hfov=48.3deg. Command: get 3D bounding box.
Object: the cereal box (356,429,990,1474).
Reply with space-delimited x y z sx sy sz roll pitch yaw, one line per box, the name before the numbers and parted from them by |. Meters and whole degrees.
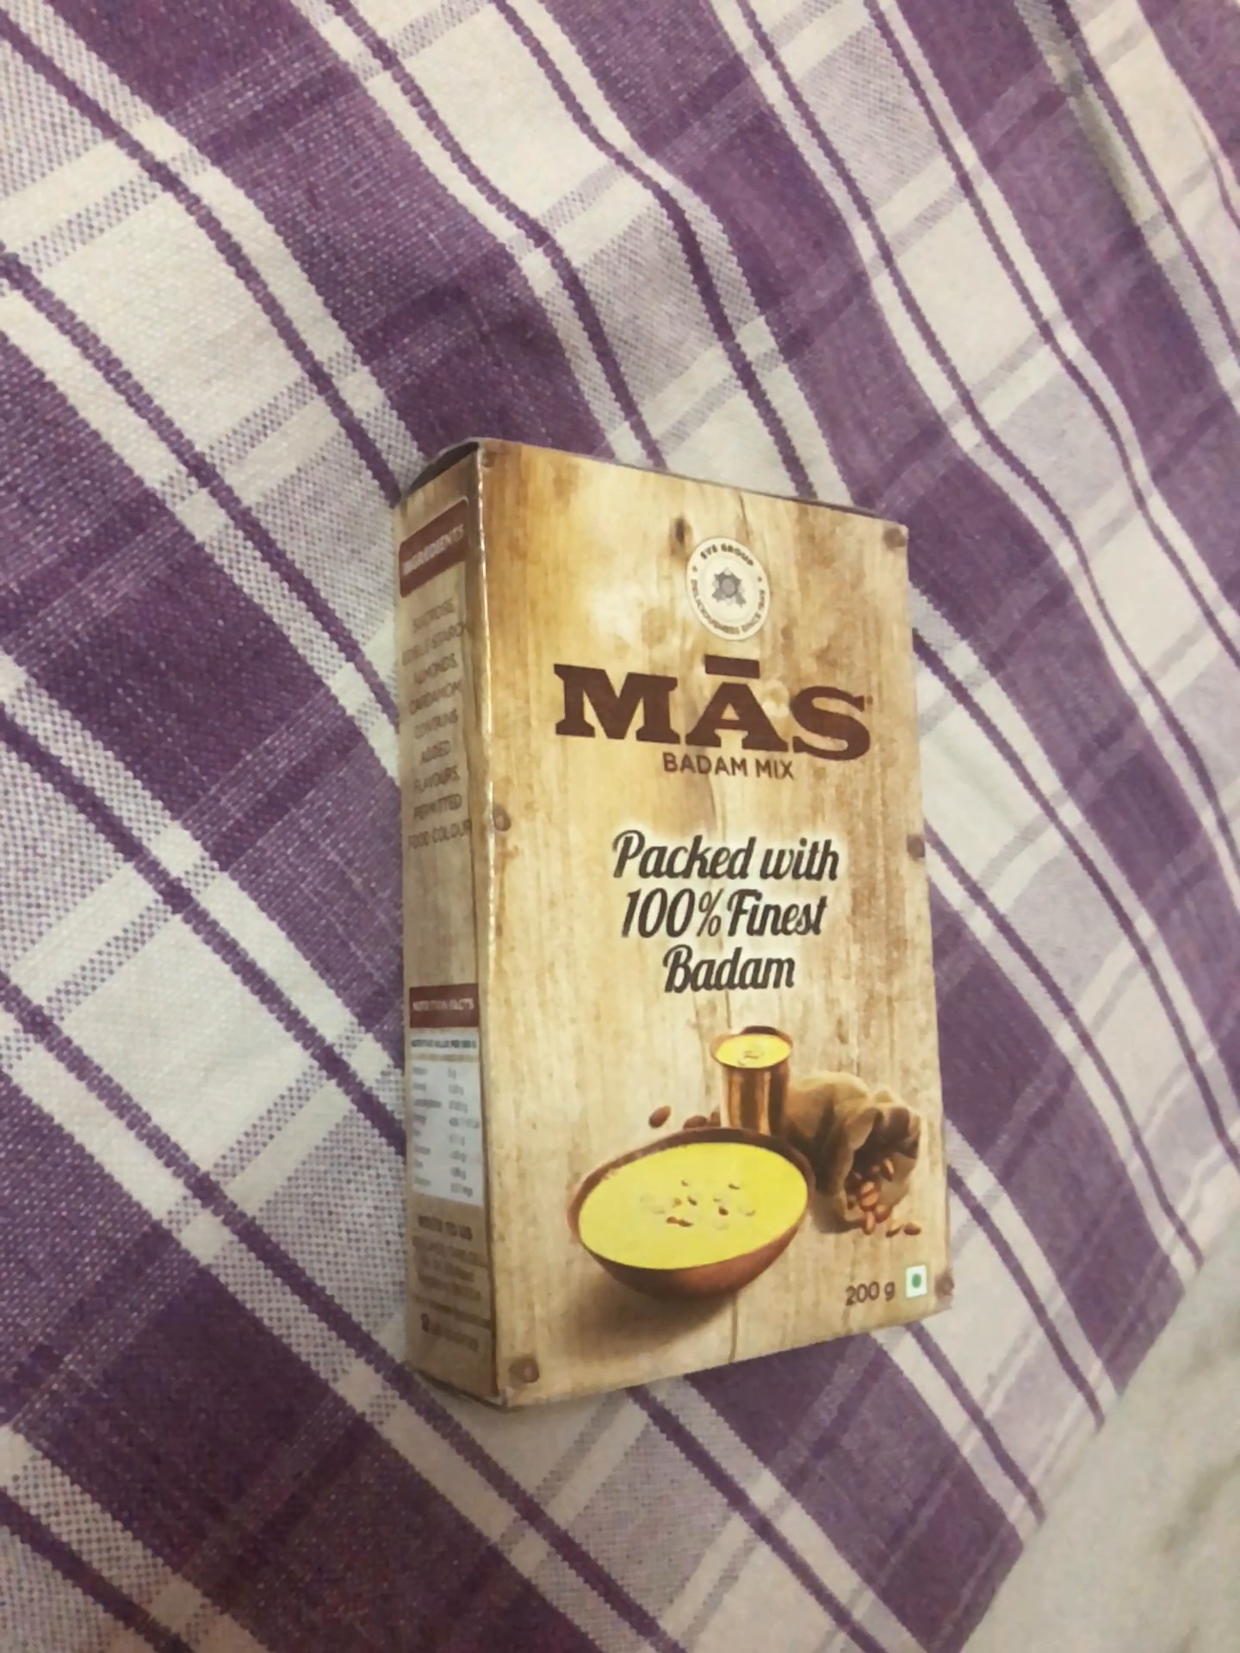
cereal box | 0.009 0.016 0.209 0.090 0.030 0.130 2 84 -31
